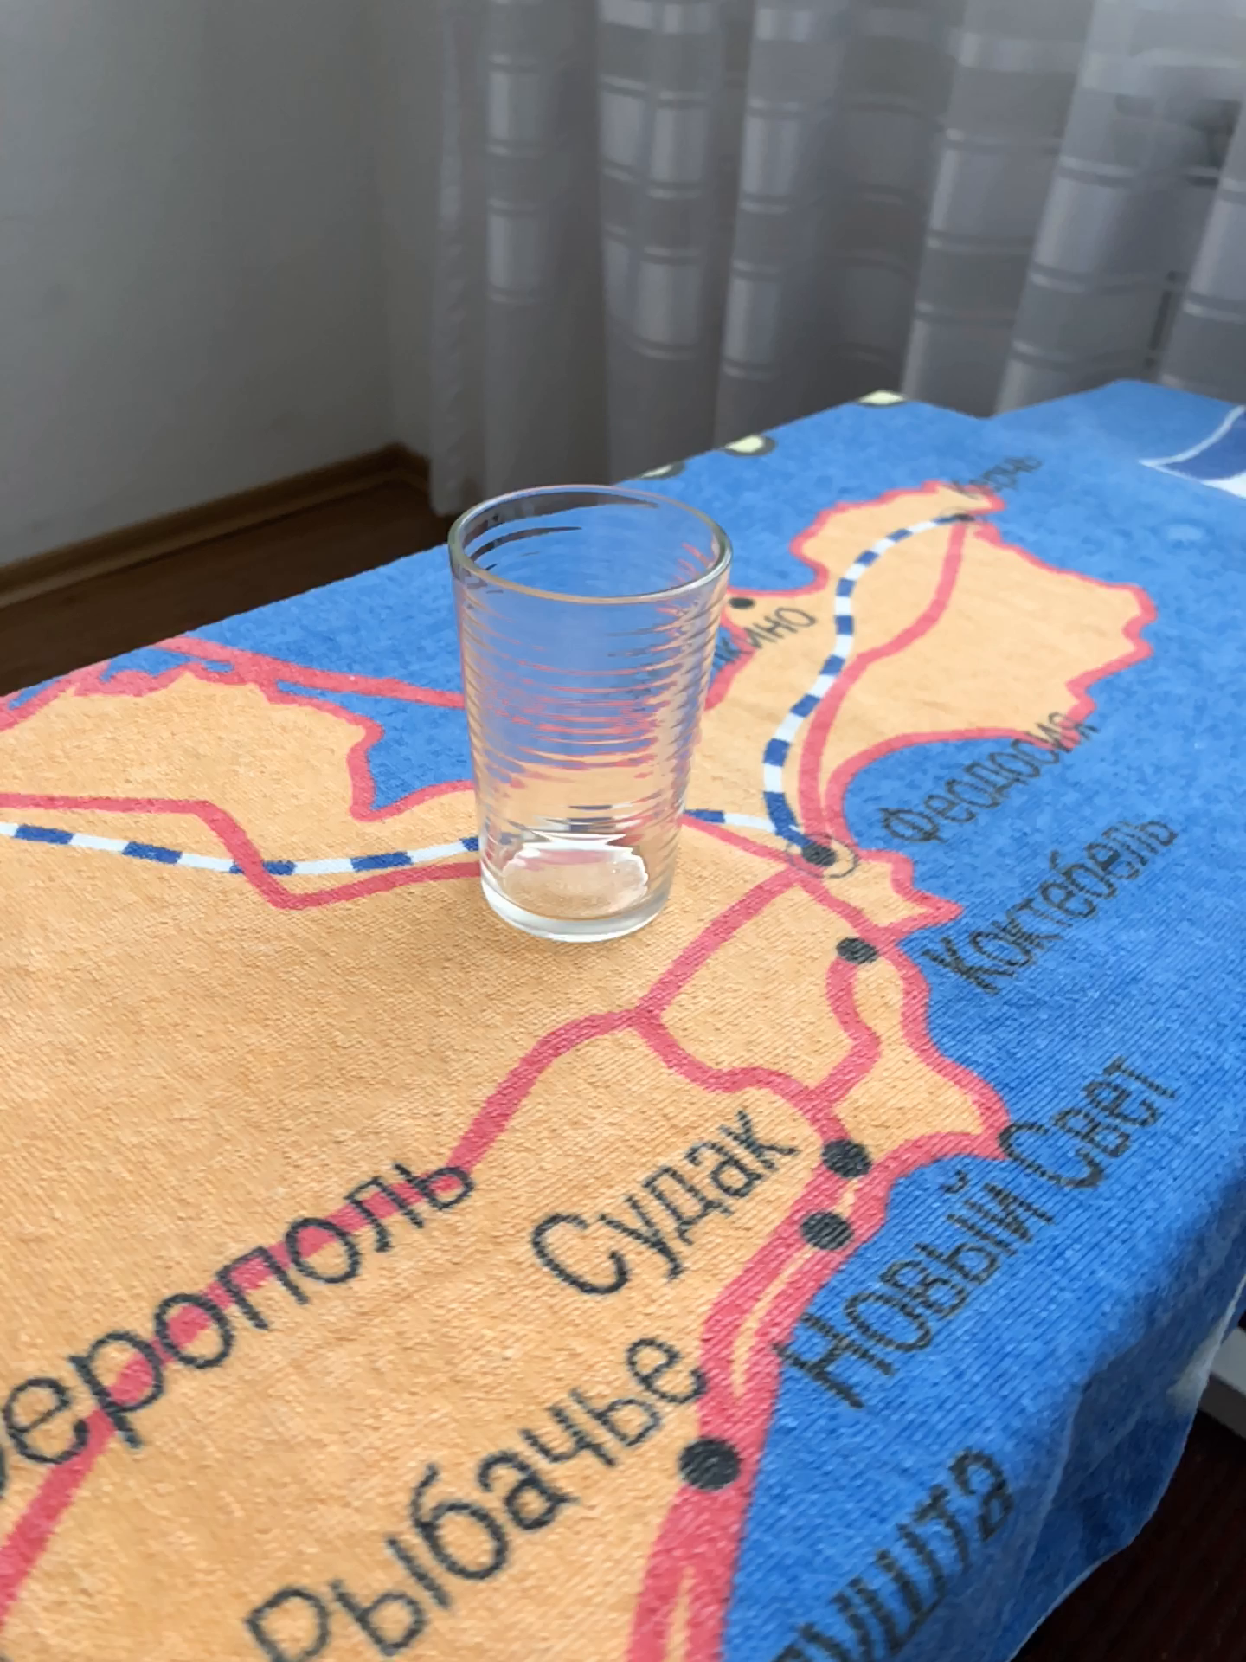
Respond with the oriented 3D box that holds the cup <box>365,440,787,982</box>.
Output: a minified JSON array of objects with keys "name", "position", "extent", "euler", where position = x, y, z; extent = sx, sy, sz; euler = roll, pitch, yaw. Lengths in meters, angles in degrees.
[{"name":"cup","position":[-0.012,-0.032,0.346],"extent":[0.068,0.099,0.070],"euler":[1,36,-1]}]
